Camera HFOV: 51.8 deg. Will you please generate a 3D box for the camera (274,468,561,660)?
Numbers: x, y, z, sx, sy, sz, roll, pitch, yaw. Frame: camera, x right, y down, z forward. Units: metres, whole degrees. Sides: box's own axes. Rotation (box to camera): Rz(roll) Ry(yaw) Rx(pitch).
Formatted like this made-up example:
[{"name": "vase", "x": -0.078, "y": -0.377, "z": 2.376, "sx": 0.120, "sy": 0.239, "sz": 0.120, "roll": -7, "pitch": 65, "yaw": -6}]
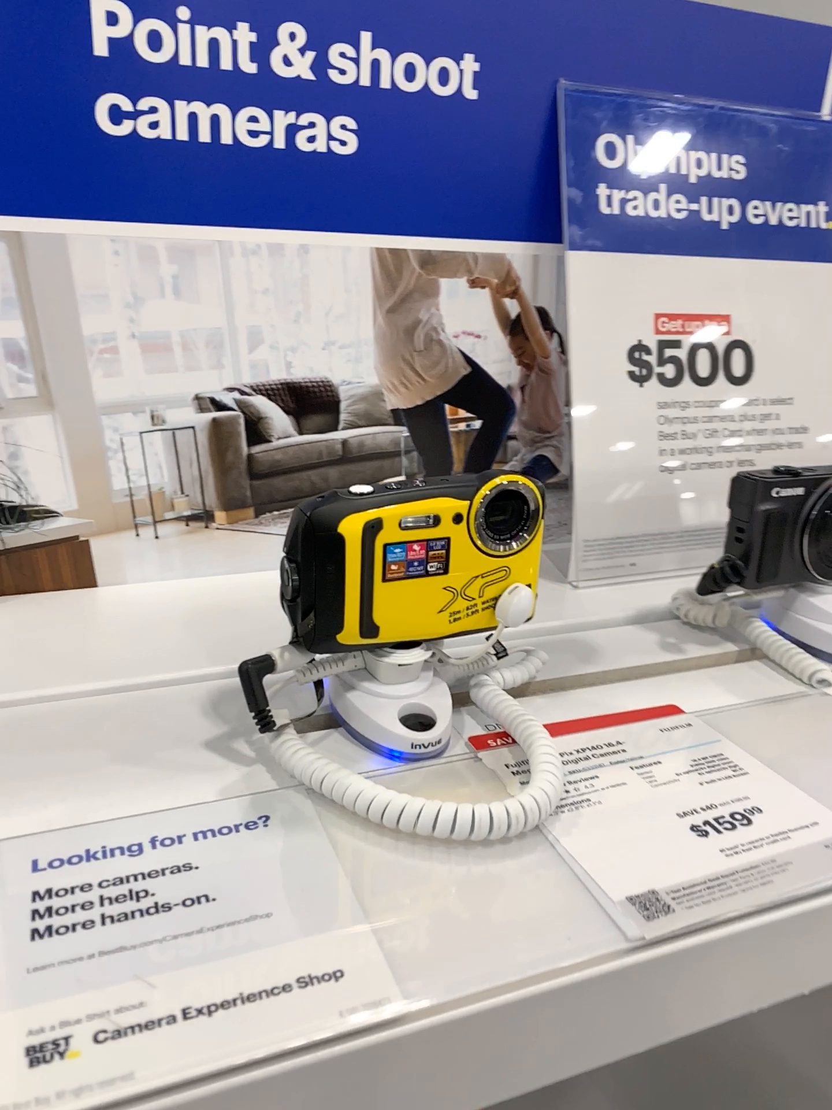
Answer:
[{"name": "camera", "x": 0.001, "y": 0.001, "z": 0.347, "sx": 0.110, "sy": 0.060, "sz": 0.030, "roll": -6, "pitch": 20, "yaw": -22}]
